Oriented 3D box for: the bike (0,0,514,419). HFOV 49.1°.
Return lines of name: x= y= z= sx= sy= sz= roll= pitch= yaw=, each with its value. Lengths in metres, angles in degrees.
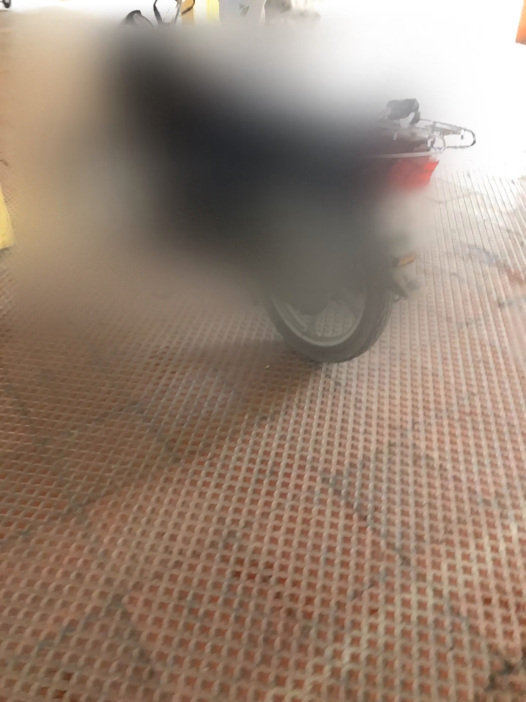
bike: x=-0.176 y=-0.751 z=2.120 sx=1.708 sy=1.107 sz=0.687 roll=28 pitch=45 yaw=32
